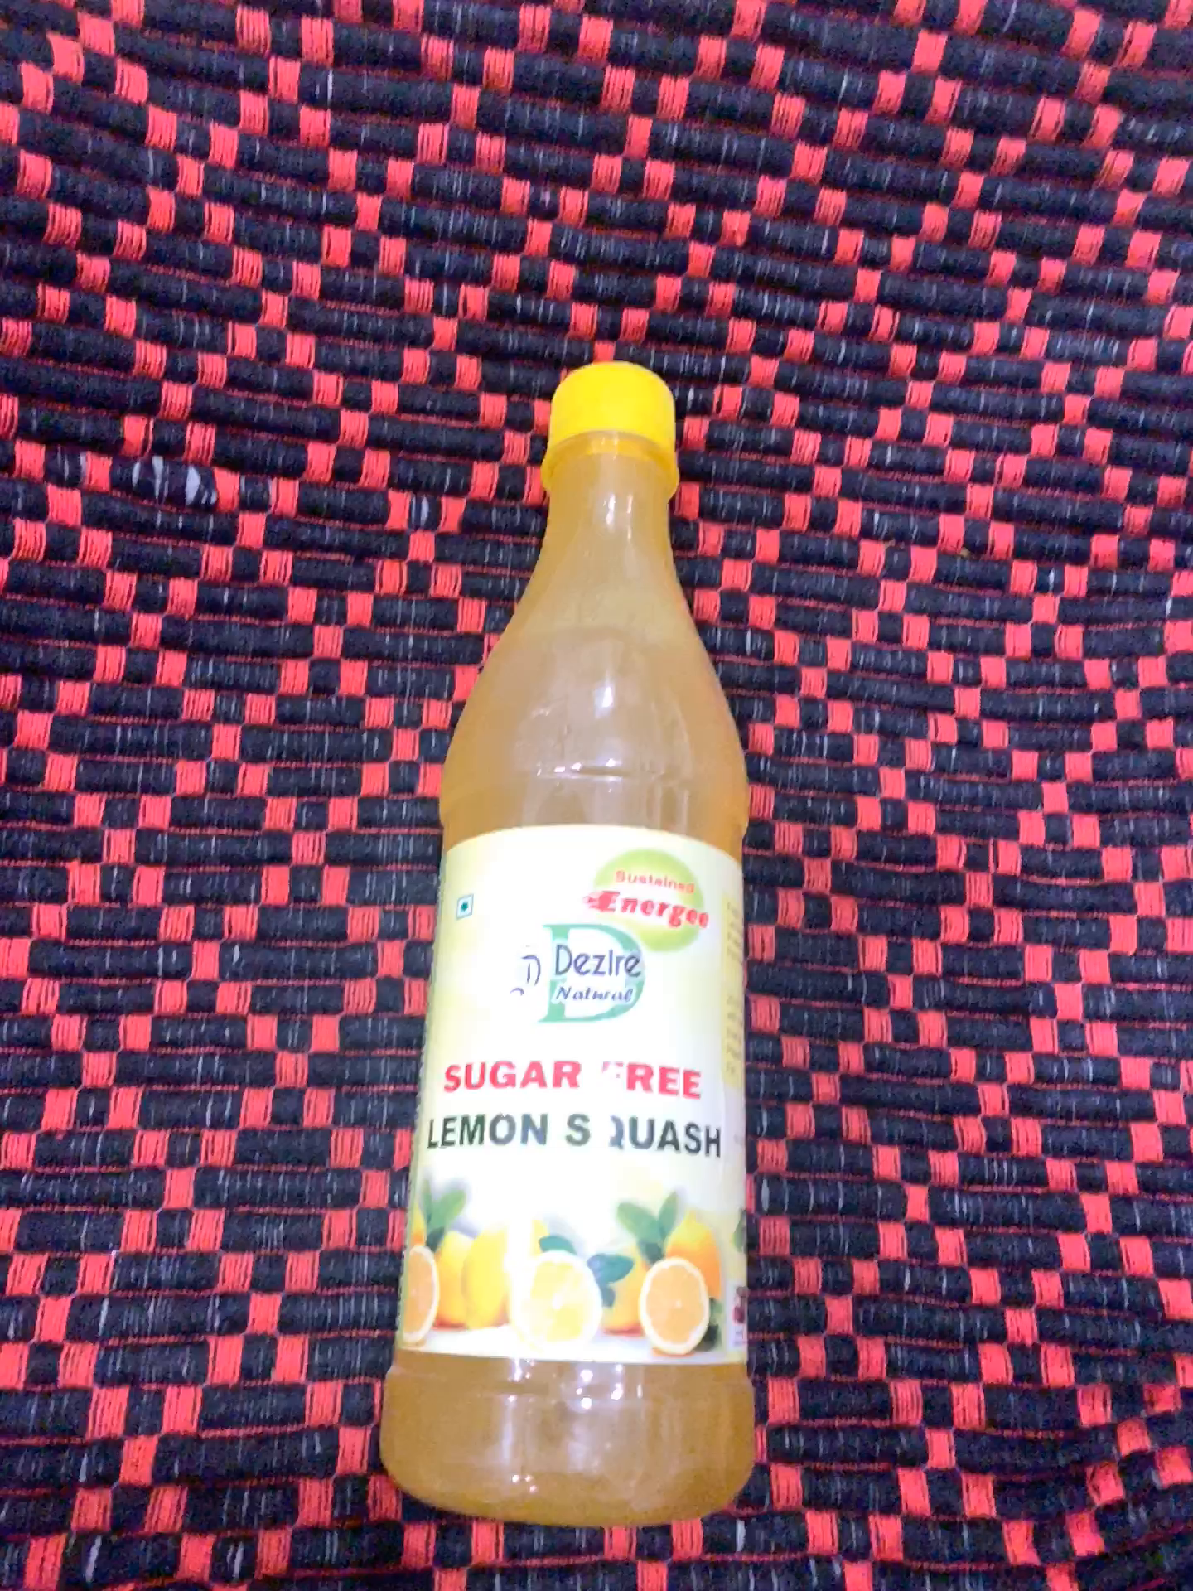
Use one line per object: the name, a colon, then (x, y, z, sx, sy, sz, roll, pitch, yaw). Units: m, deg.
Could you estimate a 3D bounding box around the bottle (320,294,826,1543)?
bottle: (-0.004, 0.012, 0.247, 0.070, 0.060, 0.230, 6, 64, -8)
